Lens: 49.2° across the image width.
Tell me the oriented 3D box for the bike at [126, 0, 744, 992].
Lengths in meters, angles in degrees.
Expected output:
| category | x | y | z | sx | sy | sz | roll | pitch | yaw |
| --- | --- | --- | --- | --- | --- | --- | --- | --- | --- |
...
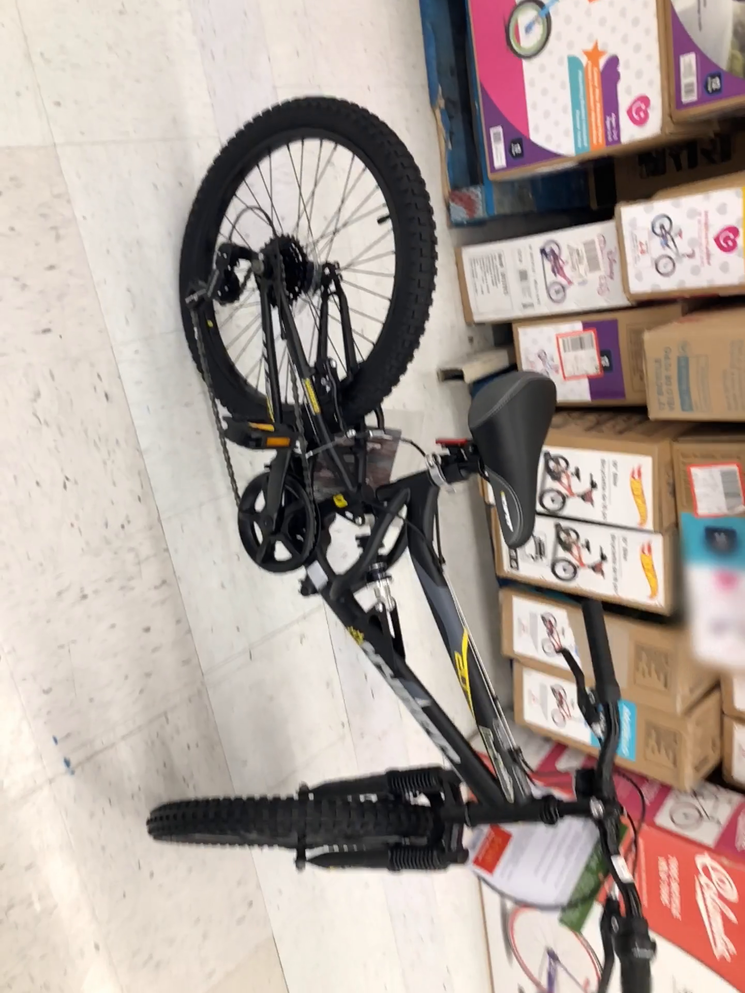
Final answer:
| category | x | y | z | sx | sy | sz | roll | pitch | yaw |
| --- | --- | --- | --- | --- | --- | --- | --- | --- | --- |
| bike | 0.225 | 0.037 | 1.302 | 0.525 | 0.849 | 1.259 | -19 | 105 | -43 |
